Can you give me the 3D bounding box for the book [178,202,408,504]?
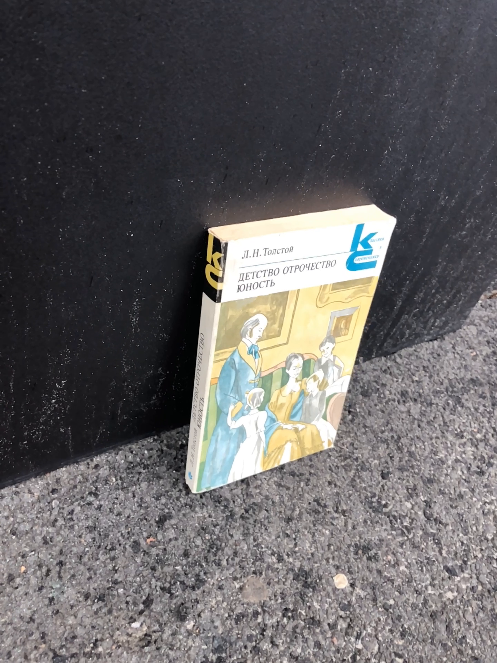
[{"bbox_3d":[0.022,0.016,0.349,0.120,0.184,0.030,-12,38,-30],"label":"book"}]
